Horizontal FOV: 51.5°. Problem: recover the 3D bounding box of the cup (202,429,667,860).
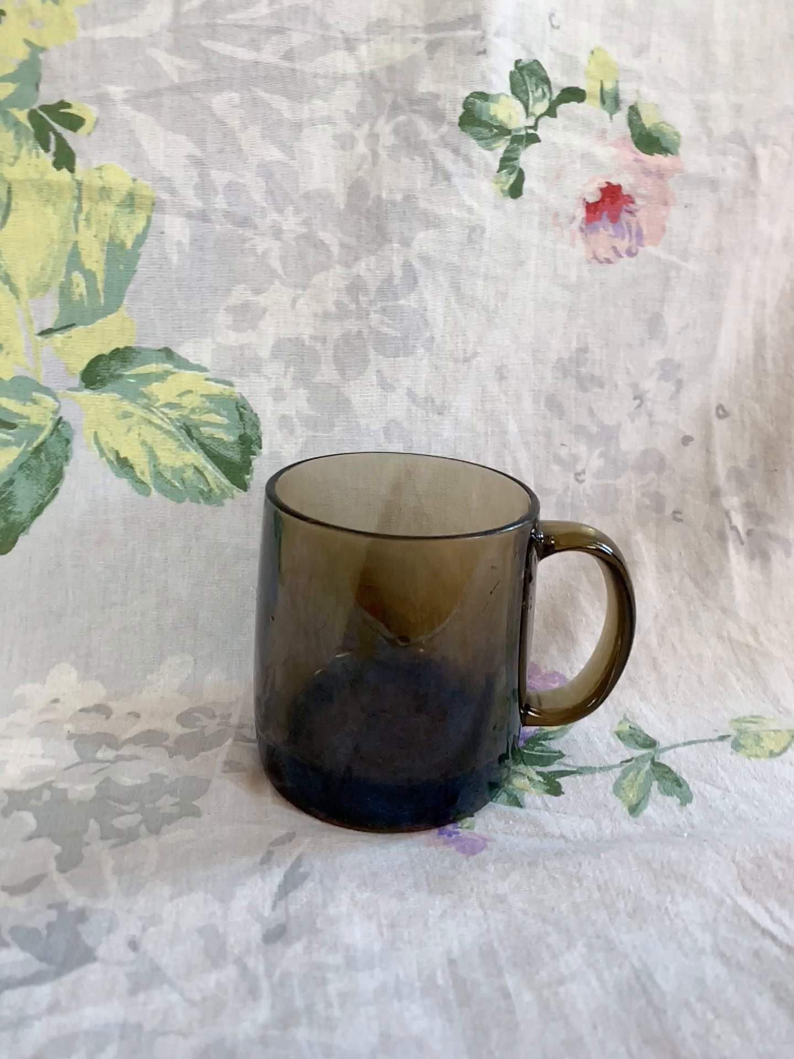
[{"bbox_3d":[0.004,0.028,0.260,0.119,0.099,0.082,-3,21,-10],"label":"cup"}]
